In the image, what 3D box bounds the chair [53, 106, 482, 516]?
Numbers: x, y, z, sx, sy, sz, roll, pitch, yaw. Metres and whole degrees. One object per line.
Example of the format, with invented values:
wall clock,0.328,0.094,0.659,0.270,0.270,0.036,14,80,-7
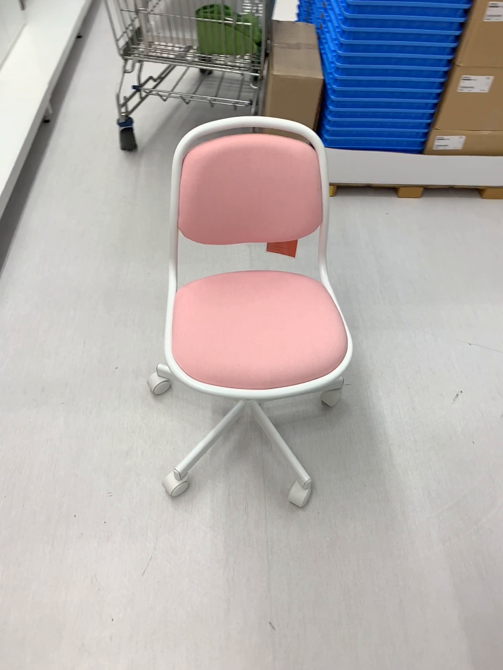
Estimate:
chair,-0.004,-0.019,1.101,0.560,0.698,0.532,-2,51,-4
